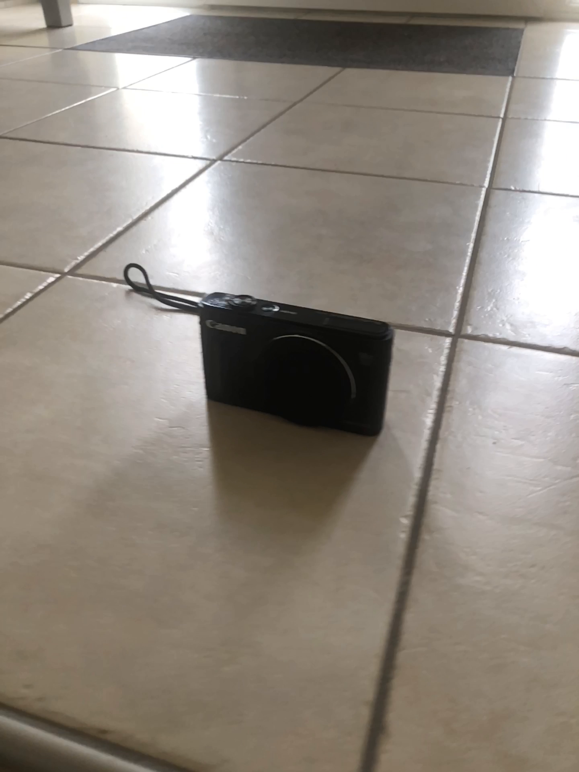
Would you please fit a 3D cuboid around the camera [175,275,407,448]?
[{"bbox_3d":[0.001,-0.015,0.340,0.110,0.060,0.040,13,37,17],"label":"camera"}]
